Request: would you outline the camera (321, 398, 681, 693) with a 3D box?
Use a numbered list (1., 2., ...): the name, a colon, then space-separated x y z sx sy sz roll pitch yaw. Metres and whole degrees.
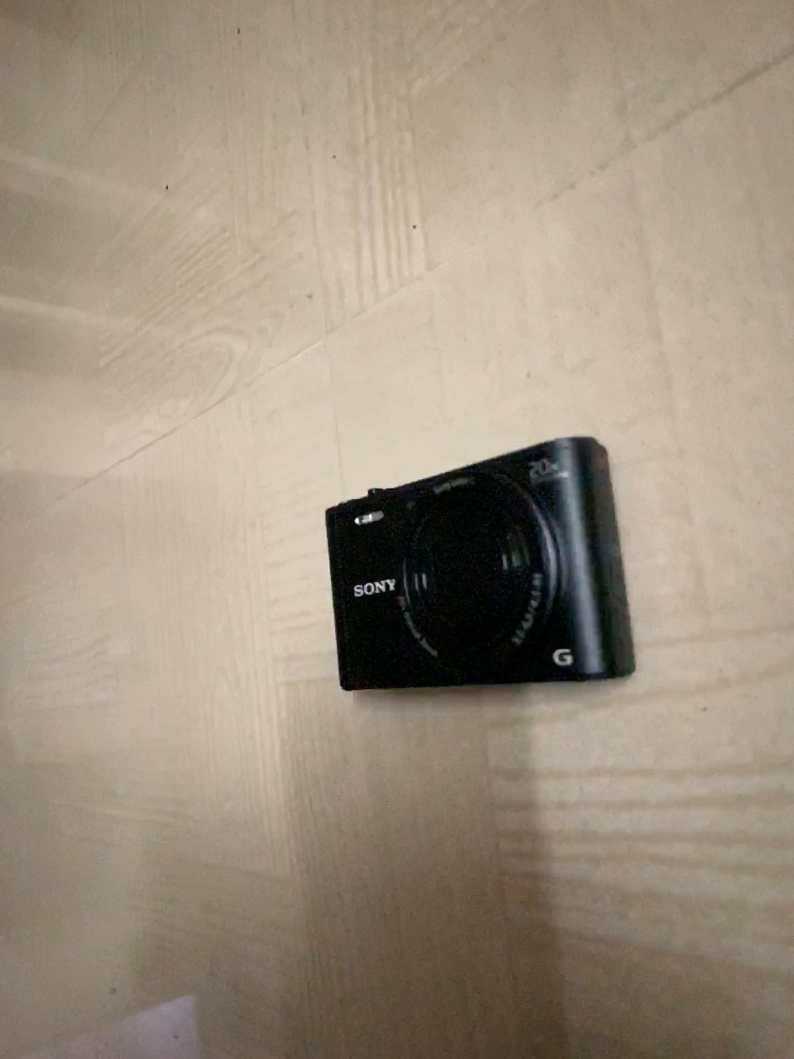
1. camera: 0.020 0.010 0.211 0.093 0.024 0.060 -14 79 47
